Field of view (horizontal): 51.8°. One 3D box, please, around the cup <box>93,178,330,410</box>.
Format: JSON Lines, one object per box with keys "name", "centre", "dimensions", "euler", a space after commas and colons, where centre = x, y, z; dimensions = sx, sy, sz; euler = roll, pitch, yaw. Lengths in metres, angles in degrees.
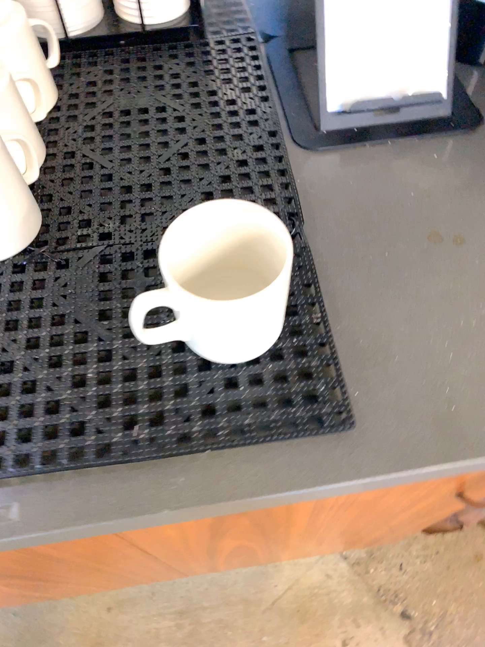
{"name": "cup", "centre": [-0.020, -0.021, 0.346], "dimensions": [0.120, 0.080, 0.090], "euler": [-28, 63, -13]}
